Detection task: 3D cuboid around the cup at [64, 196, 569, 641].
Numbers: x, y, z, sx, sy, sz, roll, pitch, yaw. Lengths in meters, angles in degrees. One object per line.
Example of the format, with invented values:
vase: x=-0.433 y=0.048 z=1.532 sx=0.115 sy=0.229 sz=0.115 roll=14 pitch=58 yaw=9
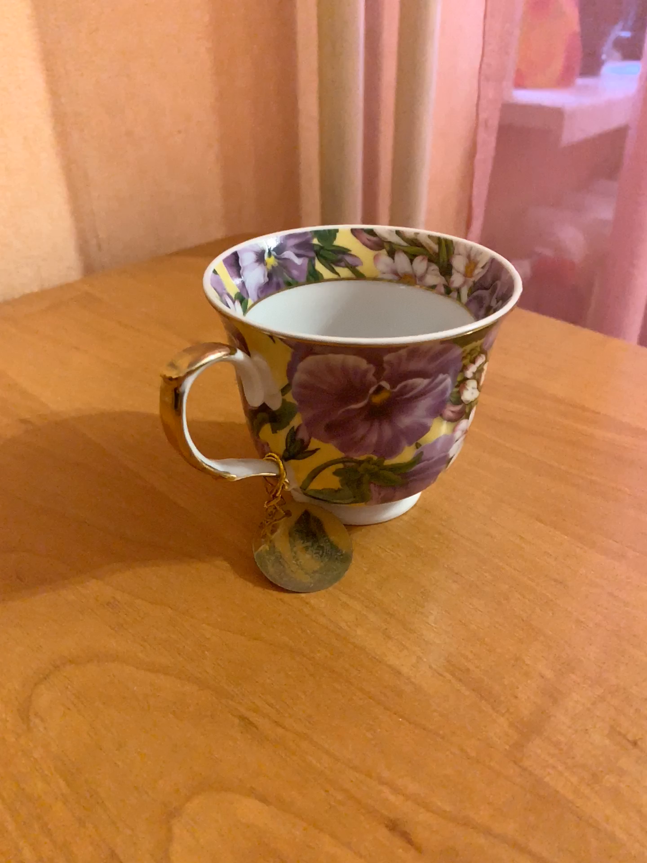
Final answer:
cup: x=0.002 y=-0.016 z=0.194 sx=0.109 sy=0.069 sz=0.077 roll=-28 pitch=41 yaw=-35
